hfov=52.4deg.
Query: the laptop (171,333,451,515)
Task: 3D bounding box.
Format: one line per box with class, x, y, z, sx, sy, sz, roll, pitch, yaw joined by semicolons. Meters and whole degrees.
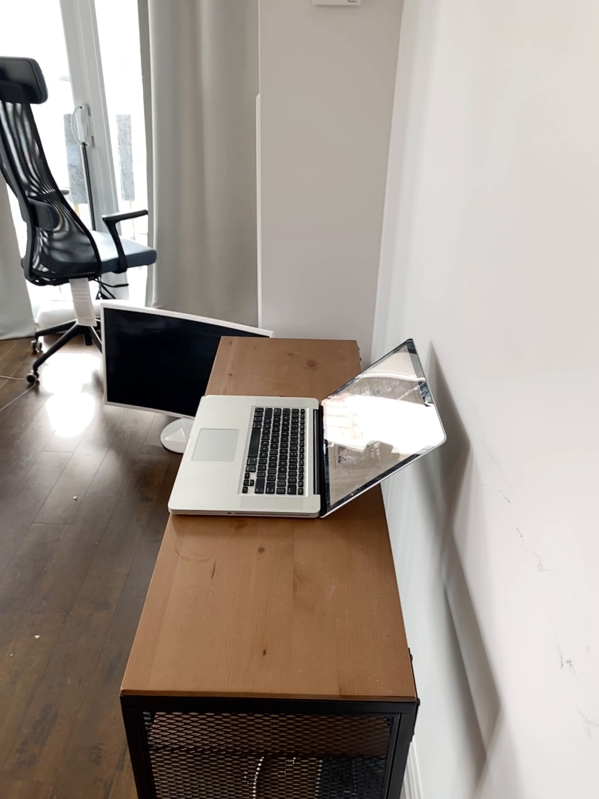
laptop;0.018;0.028;1.148;0.438;0.151;0.370;1;31;0
